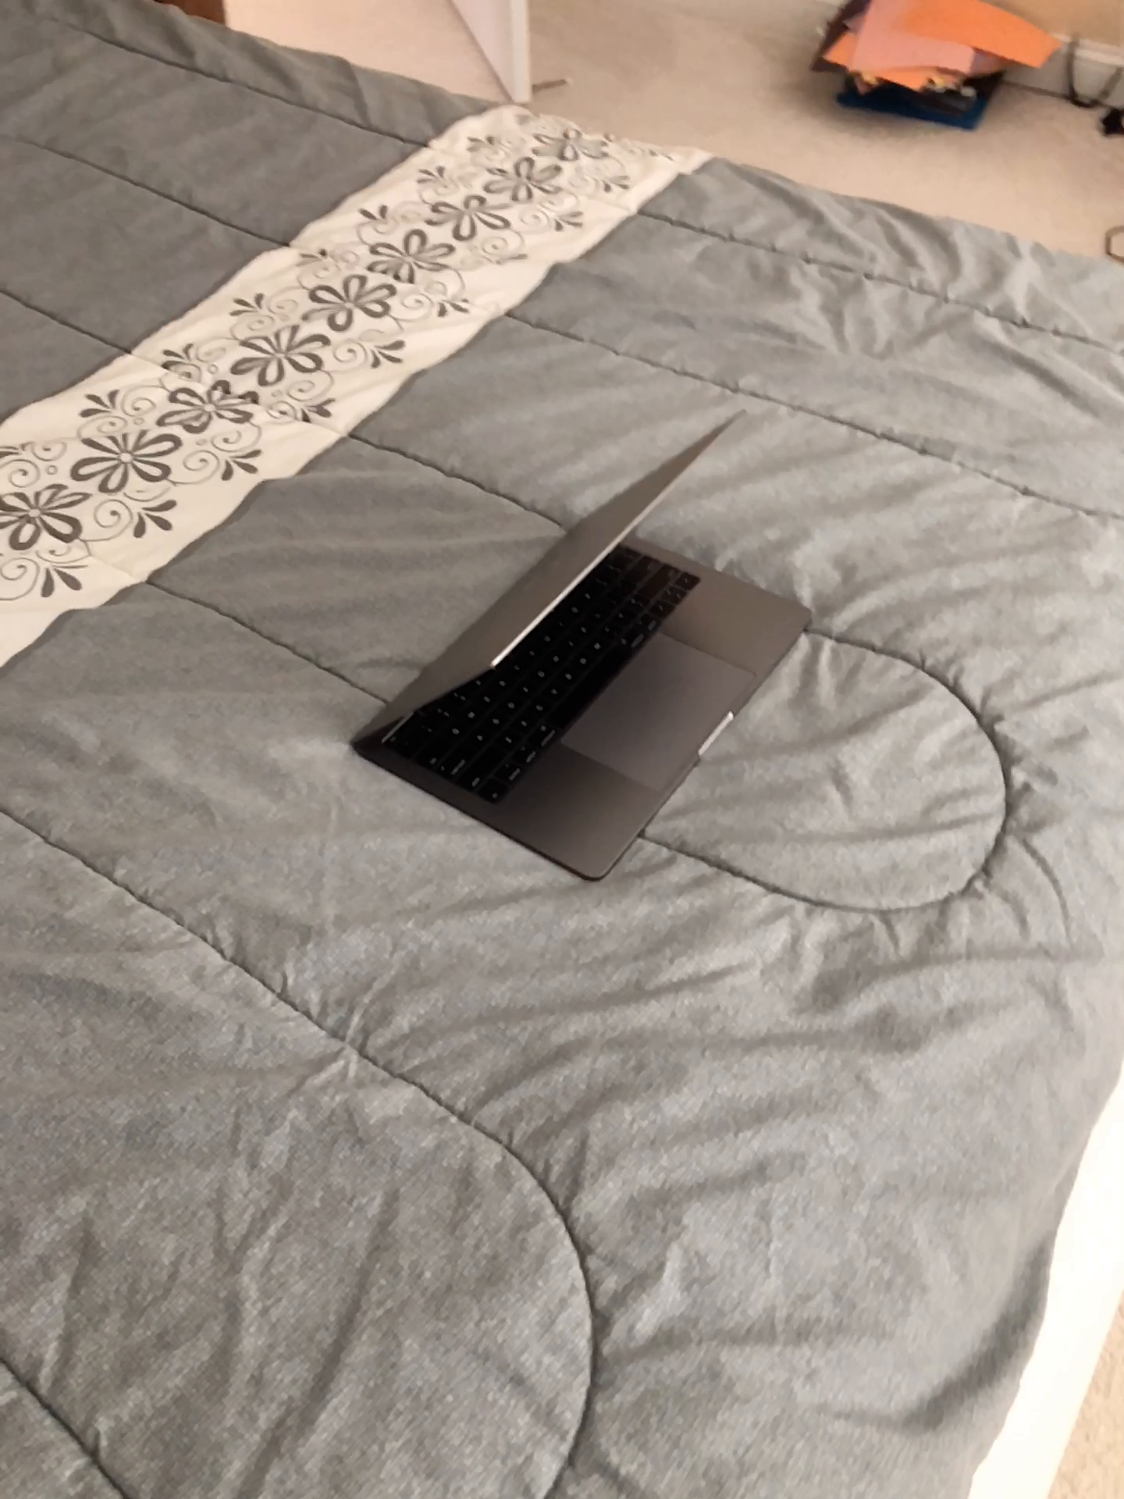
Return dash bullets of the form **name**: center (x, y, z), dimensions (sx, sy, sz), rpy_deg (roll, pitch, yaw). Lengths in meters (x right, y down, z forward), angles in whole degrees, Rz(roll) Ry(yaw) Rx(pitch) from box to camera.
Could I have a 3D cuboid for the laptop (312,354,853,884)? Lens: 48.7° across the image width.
- **laptop**: center (0.021, -0.095, 0.785), dimensions (0.195, 0.140, 0.279), rpy_deg (27, 56, 23)
